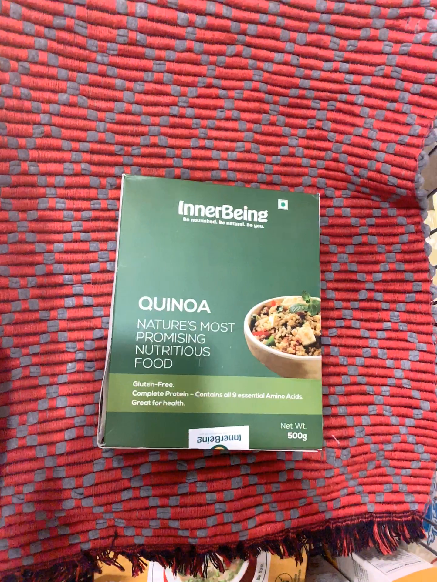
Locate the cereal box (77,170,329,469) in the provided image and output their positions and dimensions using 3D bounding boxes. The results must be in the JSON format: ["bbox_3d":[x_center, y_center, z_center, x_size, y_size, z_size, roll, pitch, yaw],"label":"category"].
[{"bbox_3d":[-0.006,0.020,0.301,0.150,0.040,0.180,4,81,-8],"label":"cereal box"}]
